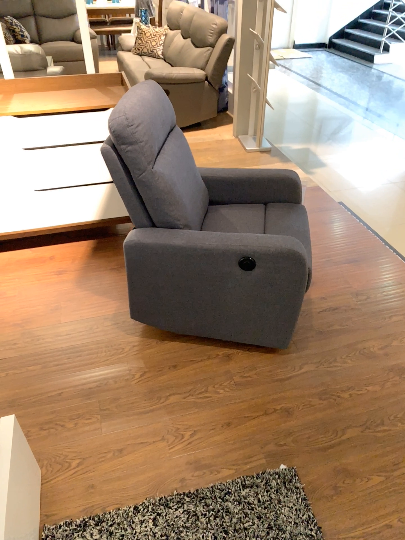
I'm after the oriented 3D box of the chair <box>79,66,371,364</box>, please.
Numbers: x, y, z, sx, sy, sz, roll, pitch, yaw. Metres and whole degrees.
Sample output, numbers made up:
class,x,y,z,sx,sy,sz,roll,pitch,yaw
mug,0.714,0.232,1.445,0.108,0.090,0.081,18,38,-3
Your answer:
class,x,y,z,sx,sy,sz,roll,pitch,yaw
chair,0.115,-0.298,1.902,0.880,0.966,0.934,5,38,6
